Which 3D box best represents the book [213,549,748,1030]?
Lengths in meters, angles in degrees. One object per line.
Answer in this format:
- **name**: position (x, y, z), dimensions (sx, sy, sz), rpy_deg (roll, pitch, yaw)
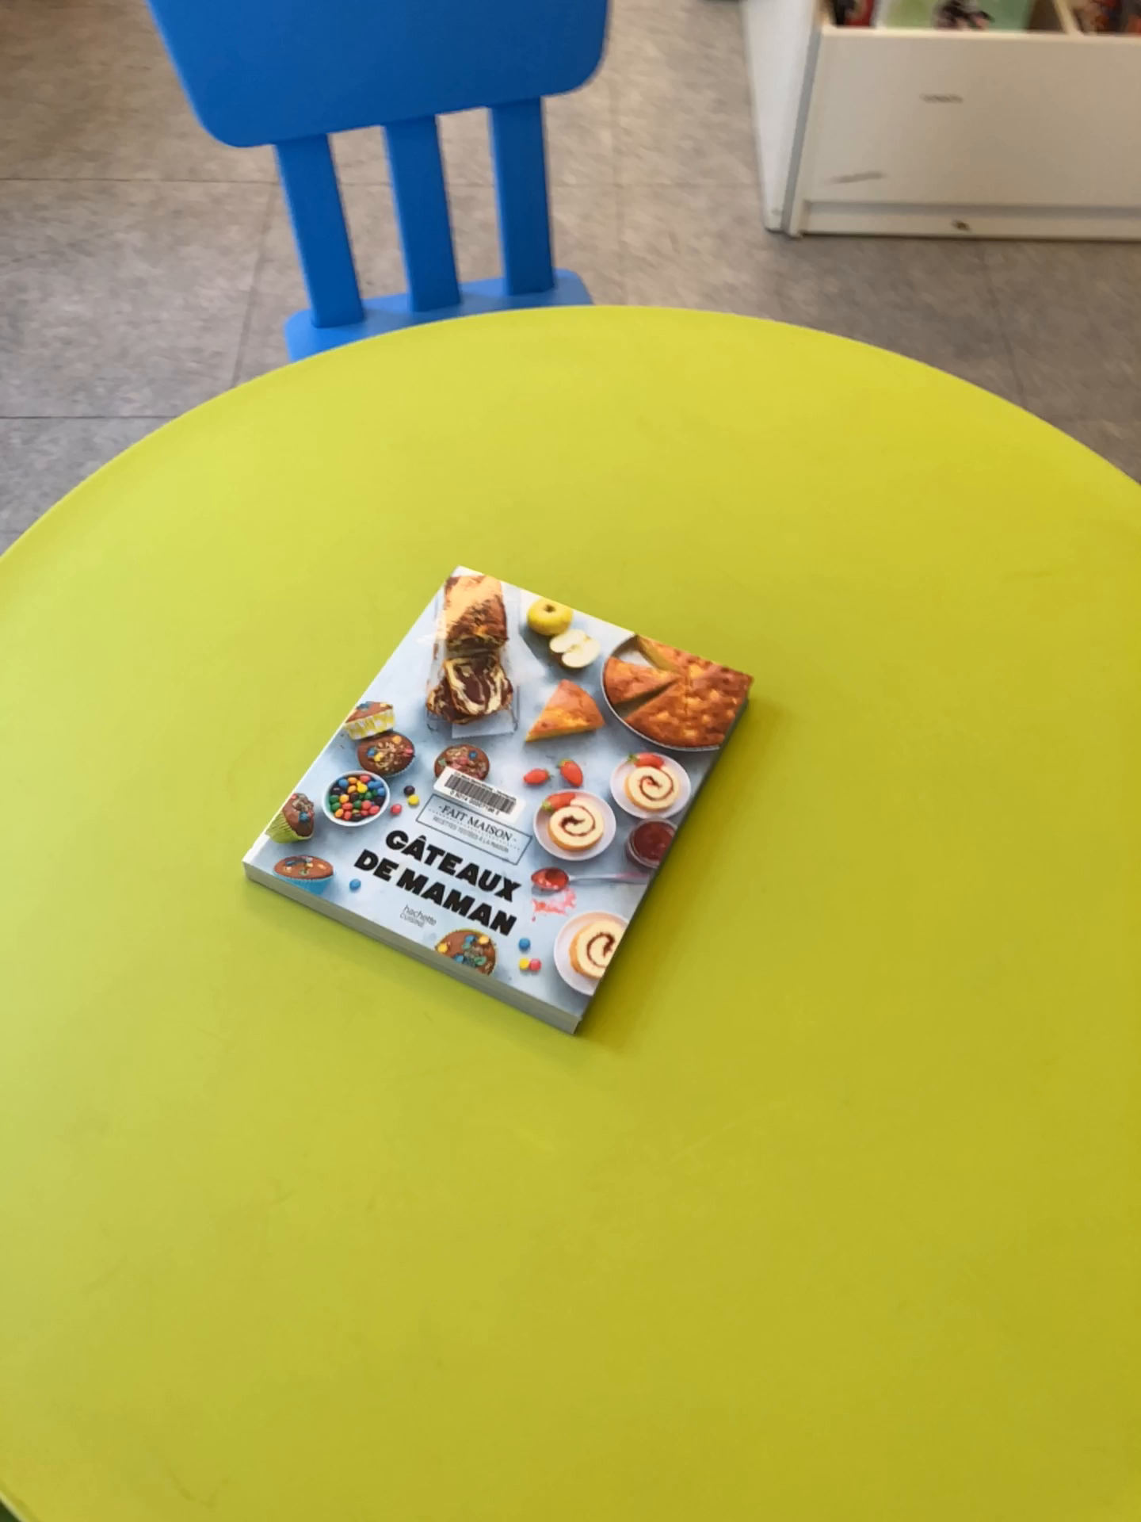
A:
- **book**: position (-0.040, 0.001, 0.671), dimensions (0.200, 0.021, 0.229), rpy_deg (22, 59, 14)
